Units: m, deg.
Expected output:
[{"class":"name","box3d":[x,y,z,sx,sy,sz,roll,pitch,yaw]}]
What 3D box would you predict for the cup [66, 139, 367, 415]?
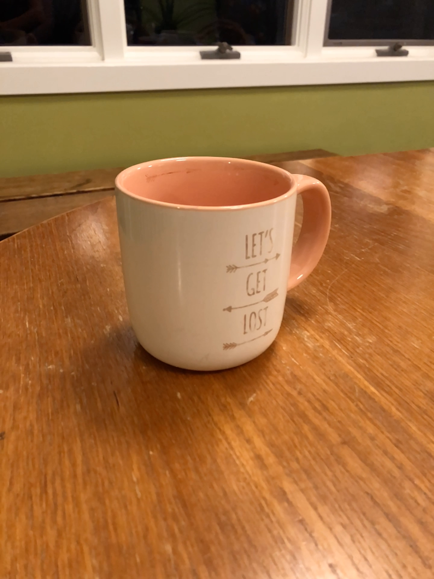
[{"class":"cup","box3d":[0.003,-0.022,0.296,0.145,0.106,0.094,-23,36,-36]}]
